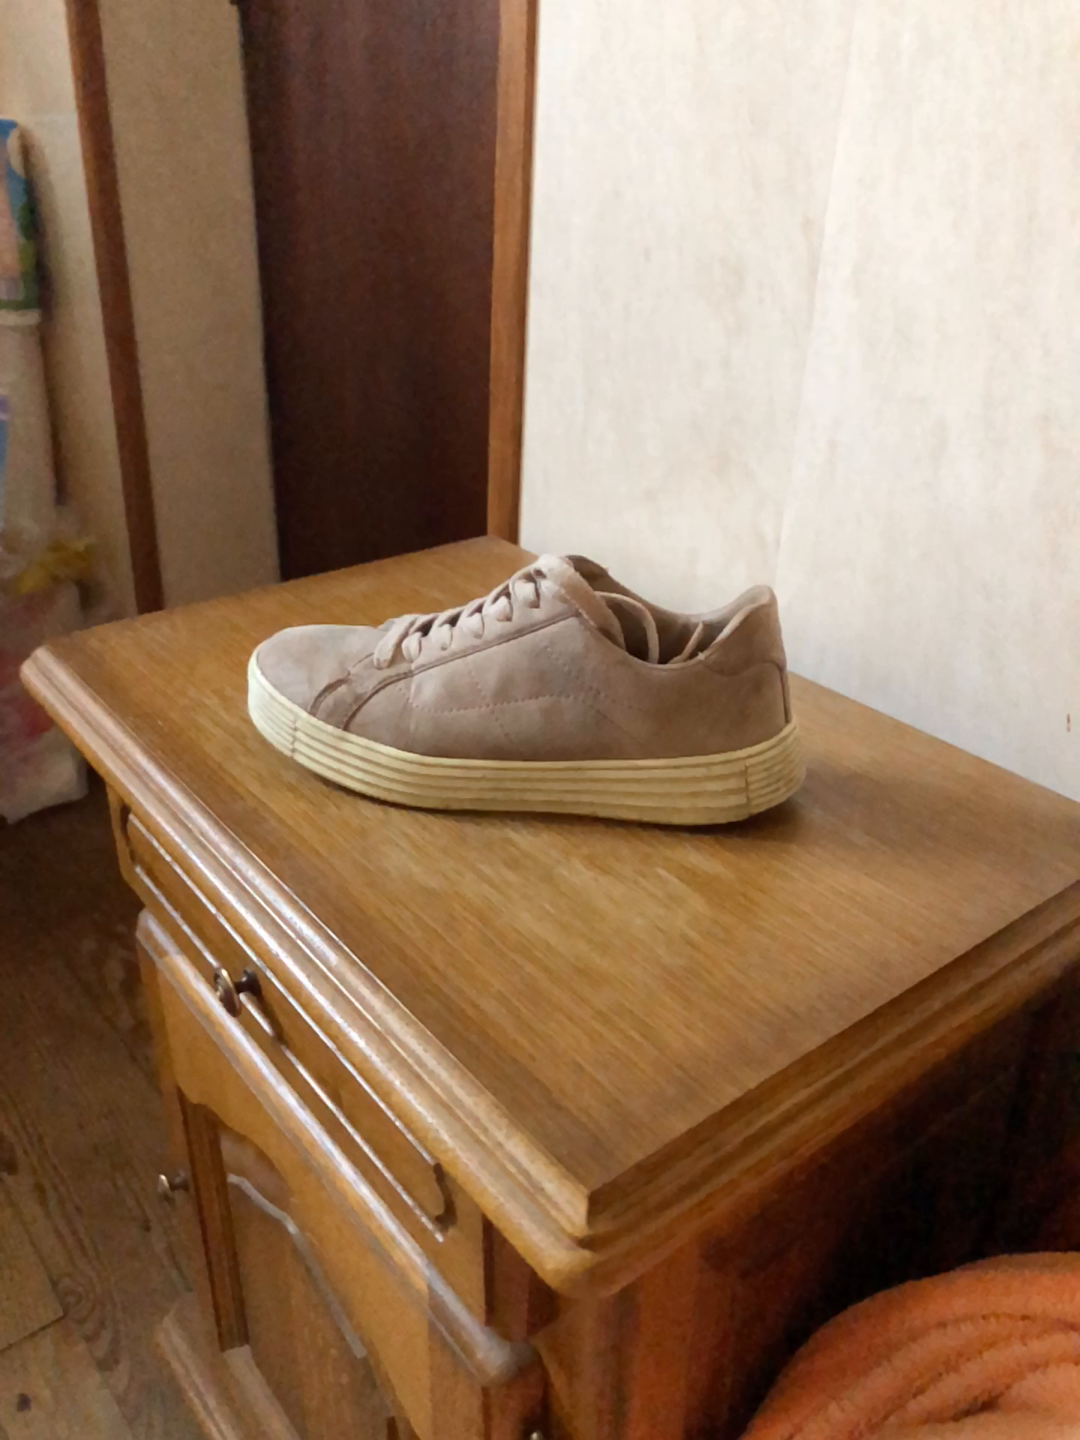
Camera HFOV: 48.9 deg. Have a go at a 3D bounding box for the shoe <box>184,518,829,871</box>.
[{"bbox_3d":[-0.009,-0.019,0.536,0.260,0.089,0.111,7,28,9],"label":"shoe"}]
